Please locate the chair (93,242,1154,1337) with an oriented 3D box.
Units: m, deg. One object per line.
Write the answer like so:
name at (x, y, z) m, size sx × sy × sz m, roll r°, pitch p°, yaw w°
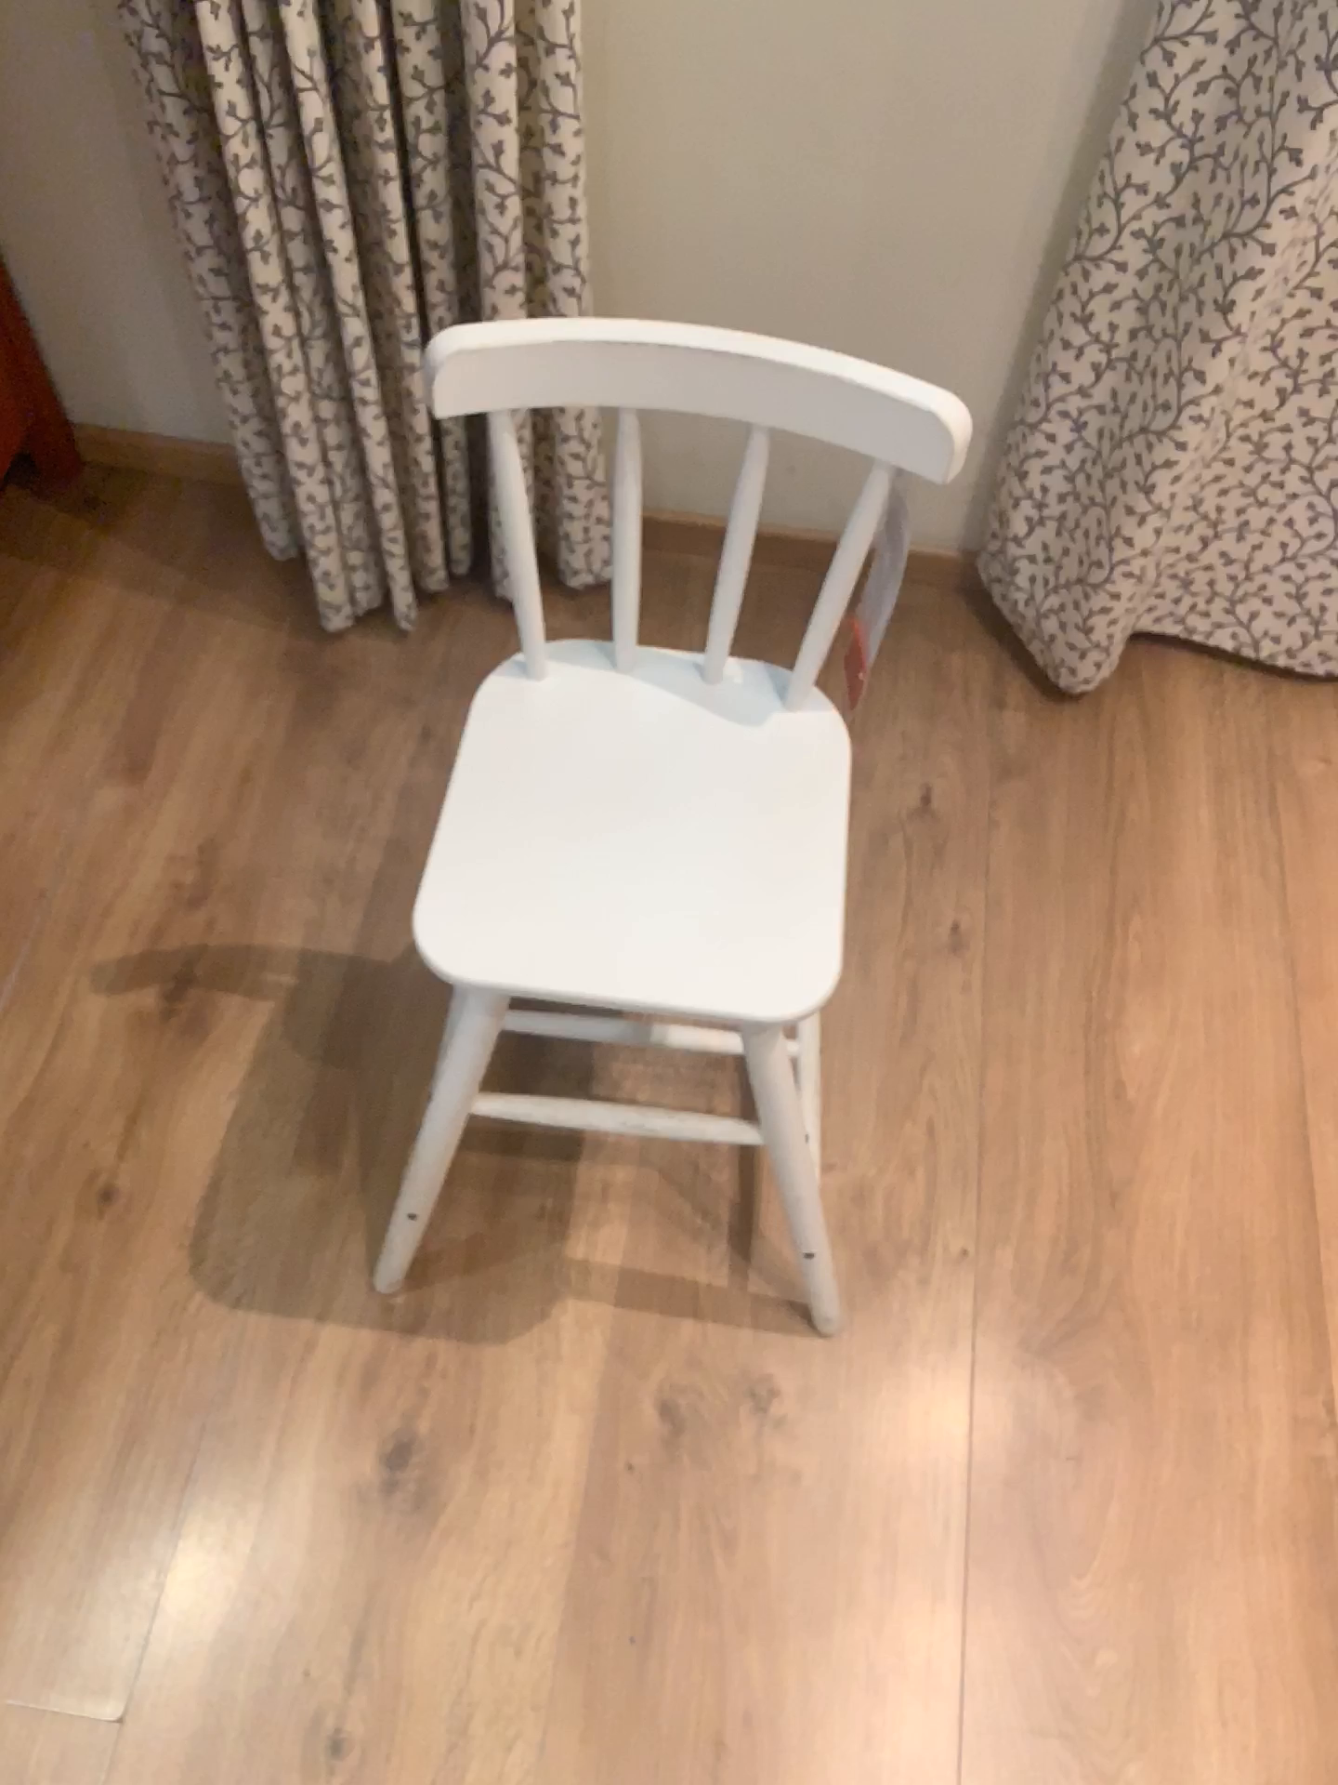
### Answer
chair at (-0.015, -0.007, 0.969) m, size 0.450 × 0.649 × 0.431 m, roll 6°, pitch 59°, yaw 1°
